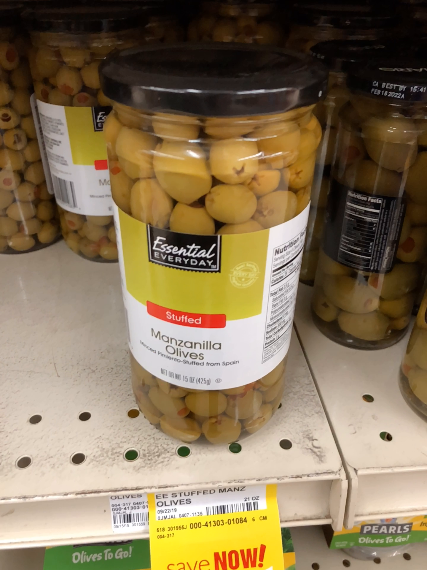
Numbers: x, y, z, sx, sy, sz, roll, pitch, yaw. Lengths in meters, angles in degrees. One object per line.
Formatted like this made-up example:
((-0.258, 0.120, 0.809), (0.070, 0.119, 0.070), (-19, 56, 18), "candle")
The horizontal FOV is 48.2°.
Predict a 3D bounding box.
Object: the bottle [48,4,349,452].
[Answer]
((0.000, -0.018, 0.200), (0.080, 0.163, 0.070), (10, 36, 11), "bottle")
